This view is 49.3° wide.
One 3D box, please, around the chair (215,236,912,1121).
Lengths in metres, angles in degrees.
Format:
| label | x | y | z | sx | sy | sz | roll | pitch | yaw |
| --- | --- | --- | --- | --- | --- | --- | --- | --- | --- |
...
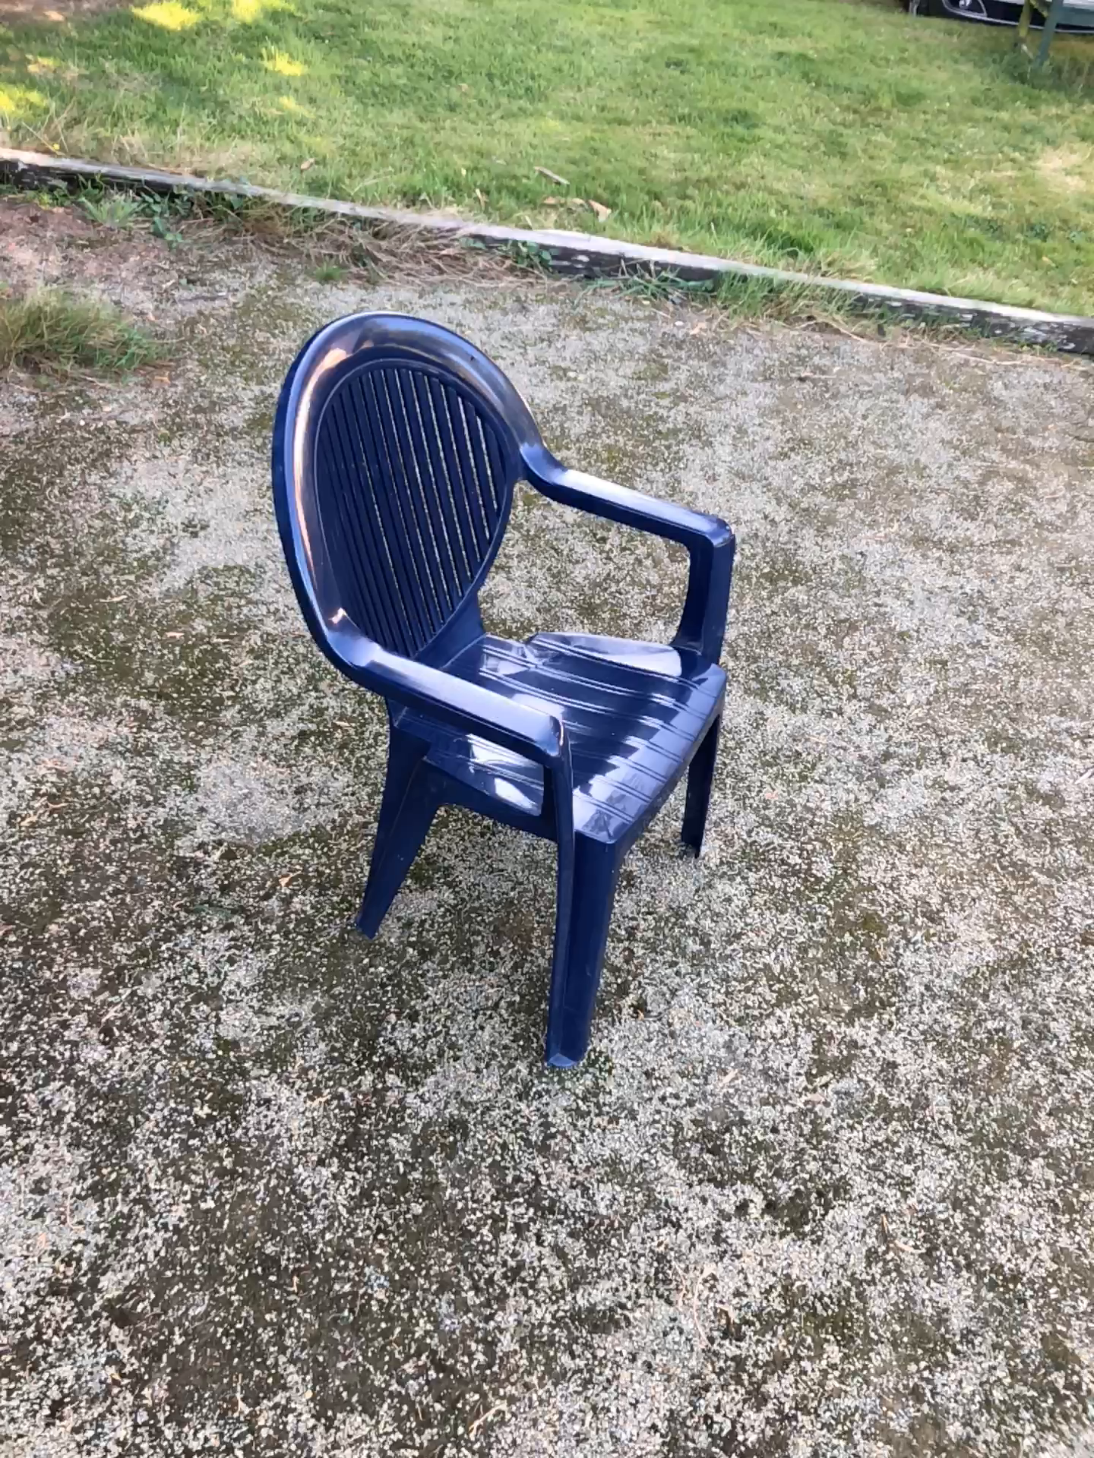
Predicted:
| label | x | y | z | sx | sy | sz | roll | pitch | yaw |
| --- | --- | --- | --- | --- | --- | --- | --- | --- | --- |
| chair | 0.017 | -0.068 | 1.581 | 0.570 | 0.855 | 0.594 | 21 | 43 | 15 |
